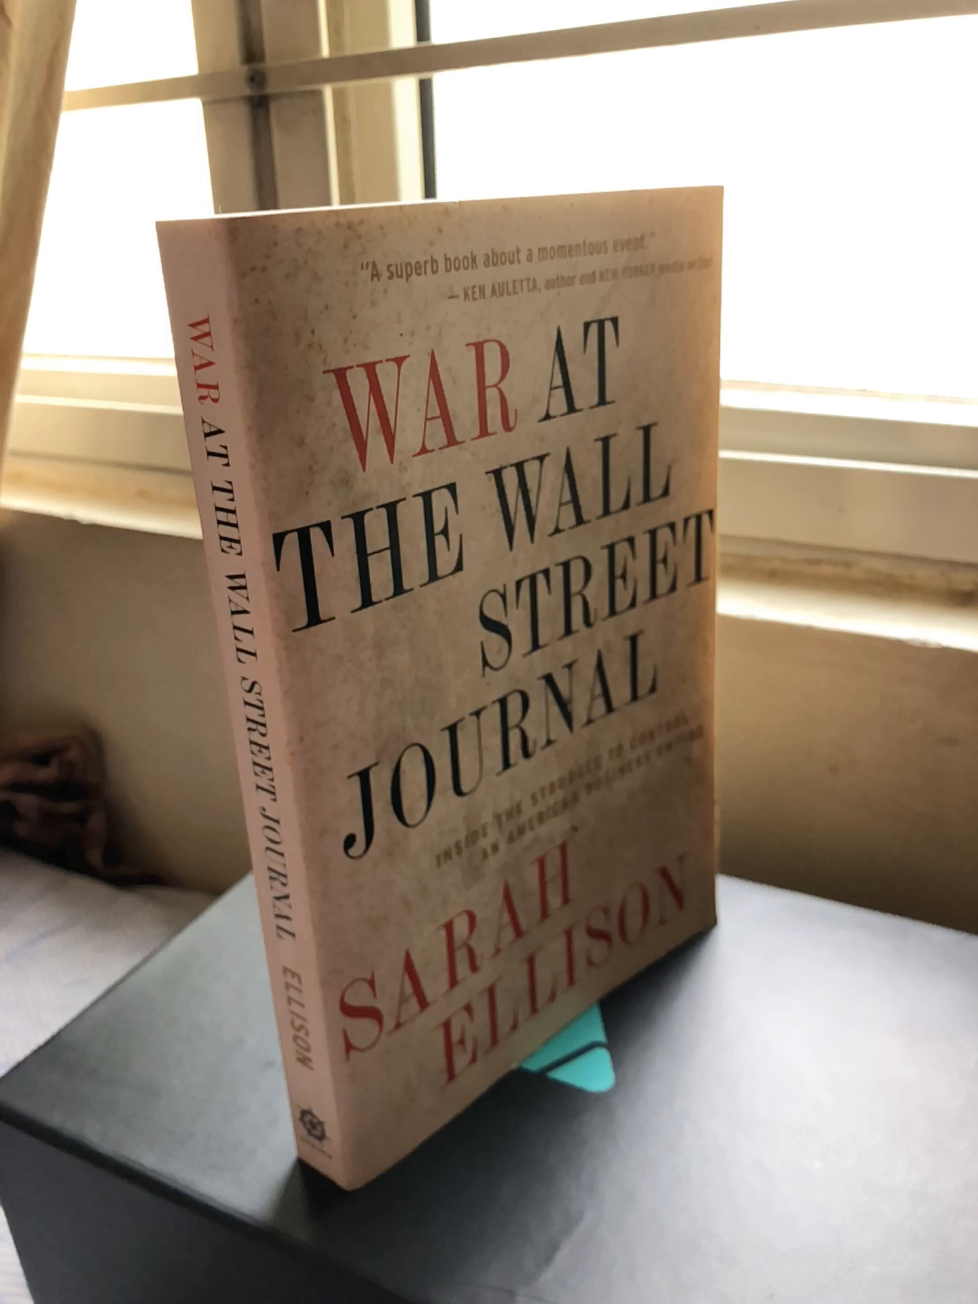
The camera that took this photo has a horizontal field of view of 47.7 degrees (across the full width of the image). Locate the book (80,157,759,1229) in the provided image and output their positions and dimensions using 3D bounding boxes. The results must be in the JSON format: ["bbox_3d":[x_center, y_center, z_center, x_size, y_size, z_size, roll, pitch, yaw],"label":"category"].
[{"bbox_3d":[0.002,-0.001,0.249,0.030,0.199,0.150,17,28,42],"label":"book"}]
